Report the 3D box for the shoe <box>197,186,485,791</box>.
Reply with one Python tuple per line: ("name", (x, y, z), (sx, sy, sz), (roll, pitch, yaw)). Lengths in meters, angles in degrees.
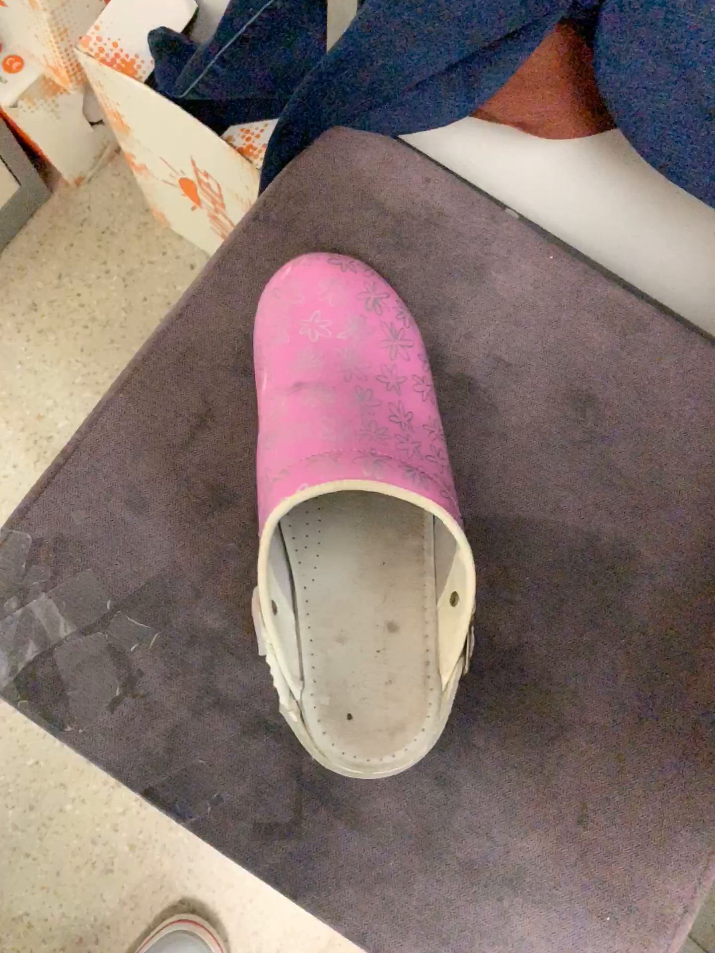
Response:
("shoe", (-0.011, 0.002, 0.321), (0.100, 0.080, 0.230), (-2, 81, -4))
